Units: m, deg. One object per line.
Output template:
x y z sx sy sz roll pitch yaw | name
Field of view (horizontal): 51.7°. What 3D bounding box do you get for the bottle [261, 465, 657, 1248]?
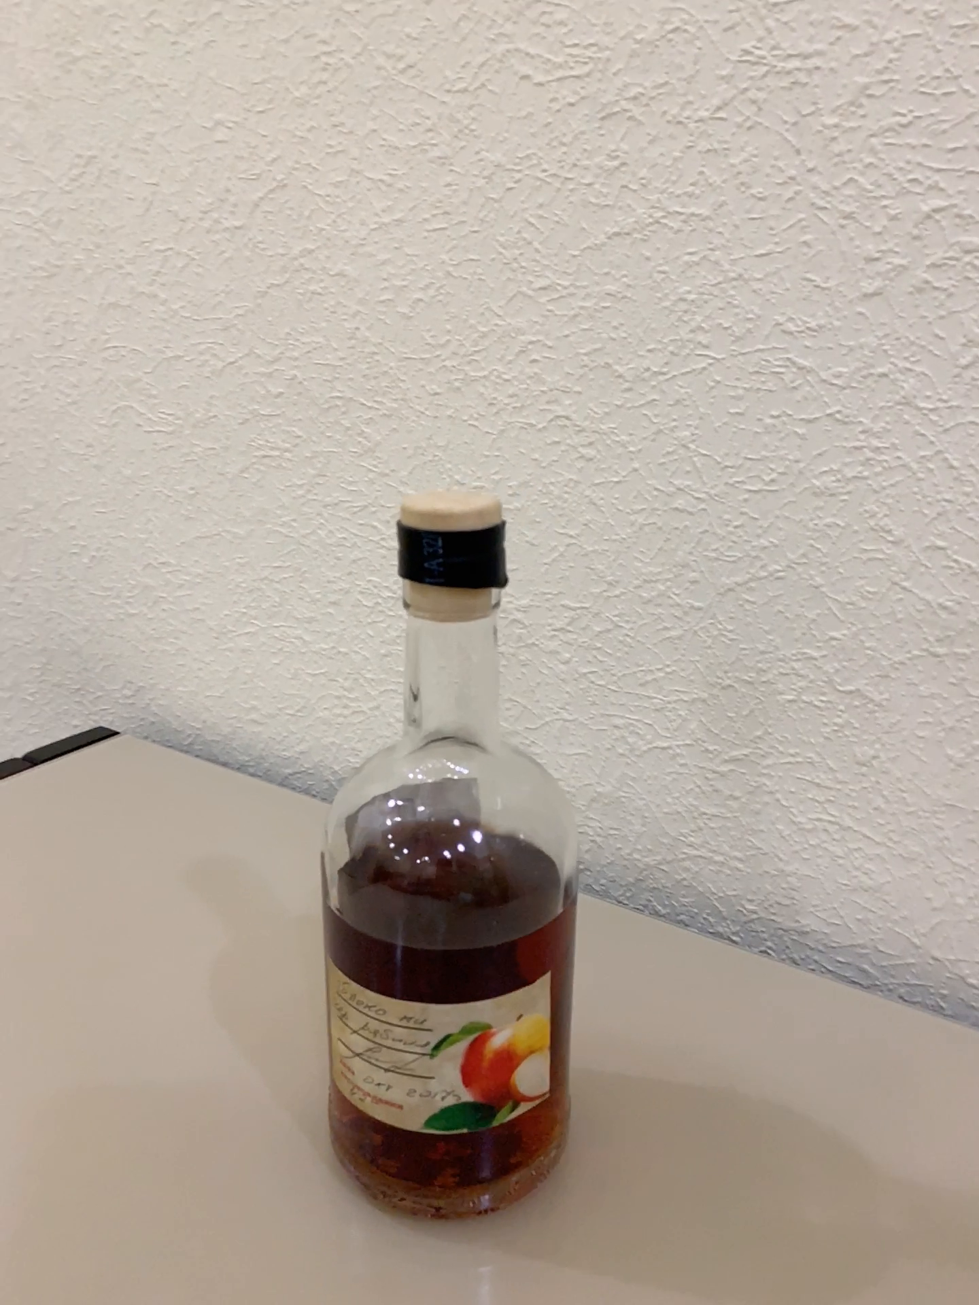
-0.003 0.054 0.294 0.090 0.201 0.080 4 18 9 | bottle
